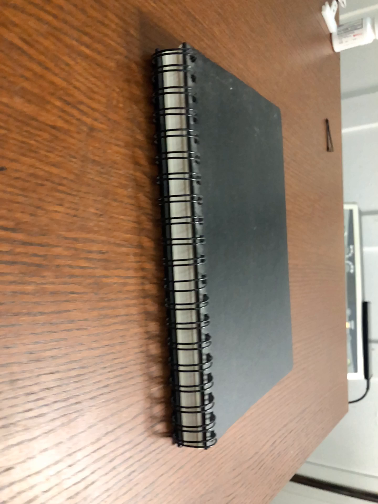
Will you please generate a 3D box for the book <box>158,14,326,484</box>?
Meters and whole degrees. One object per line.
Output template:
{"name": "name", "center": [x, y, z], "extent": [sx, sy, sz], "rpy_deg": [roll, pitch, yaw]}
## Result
{"name": "book", "center": [0.057, -0.006, 0.325], "extent": [0.201, 0.030, 0.260], "rpy_deg": [-8, 95, -58]}
